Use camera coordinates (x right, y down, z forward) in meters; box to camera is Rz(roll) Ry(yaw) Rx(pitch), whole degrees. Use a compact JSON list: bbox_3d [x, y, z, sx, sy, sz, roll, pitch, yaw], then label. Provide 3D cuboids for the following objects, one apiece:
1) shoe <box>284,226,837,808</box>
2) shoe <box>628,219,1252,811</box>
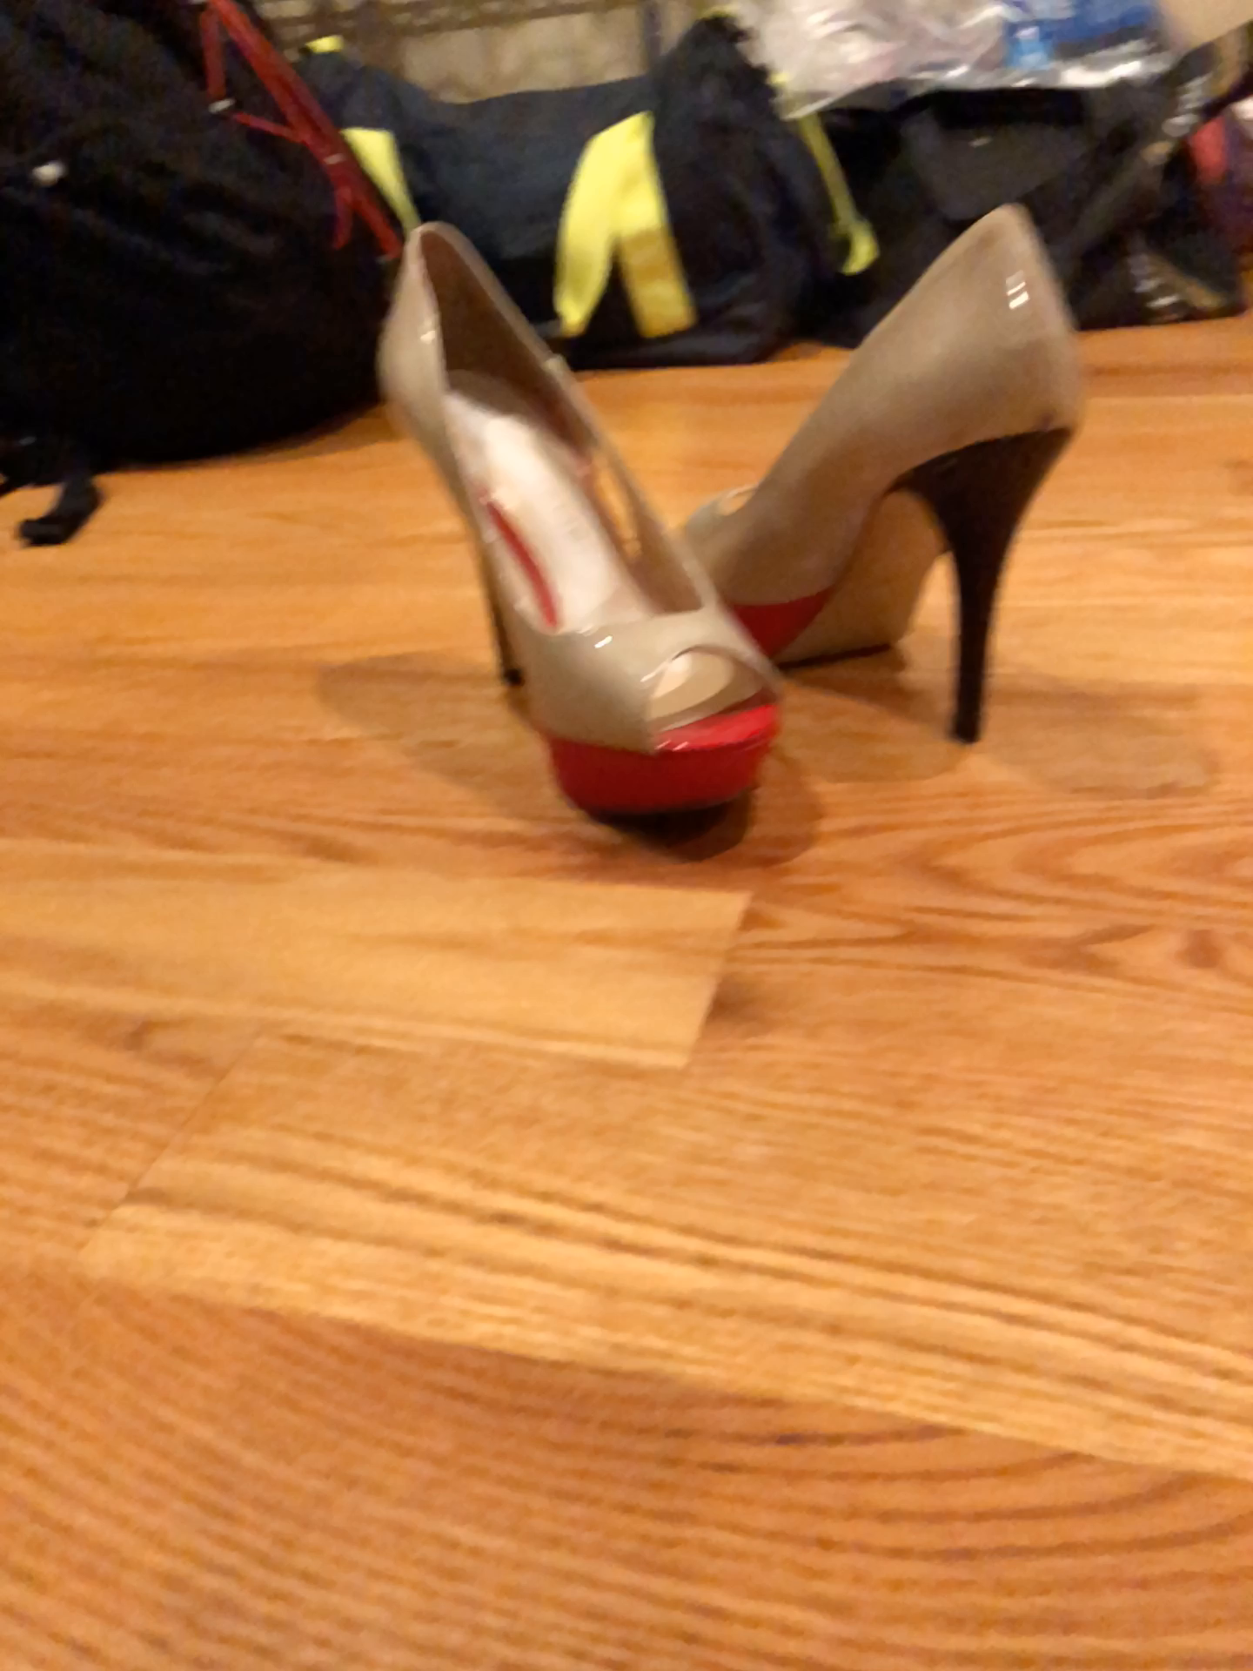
[{"bbox_3d":[-0.030,-0.118,0.445,0.085,0.129,0.216,-17,30,-21],"label":"shoe"},{"bbox_3d":[0.094,-0.126,0.482,0.080,0.149,0.221,-18,30,-23],"label":"shoe"}]
